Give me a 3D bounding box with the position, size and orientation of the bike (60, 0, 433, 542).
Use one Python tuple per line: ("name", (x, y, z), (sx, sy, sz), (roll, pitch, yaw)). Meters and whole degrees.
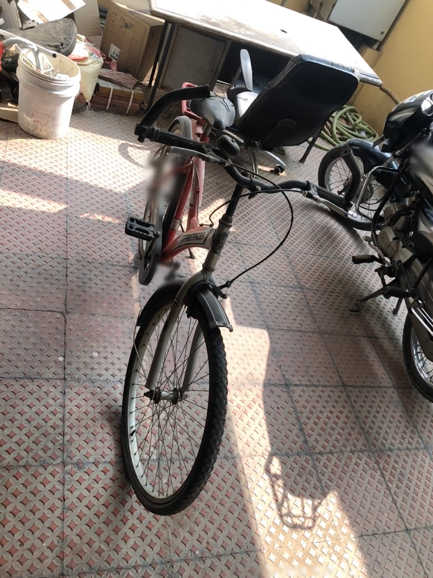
("bike", (-0.070, -0.184, 1.590), (0.576, 0.963, 1.618), (11, 42, -20))
